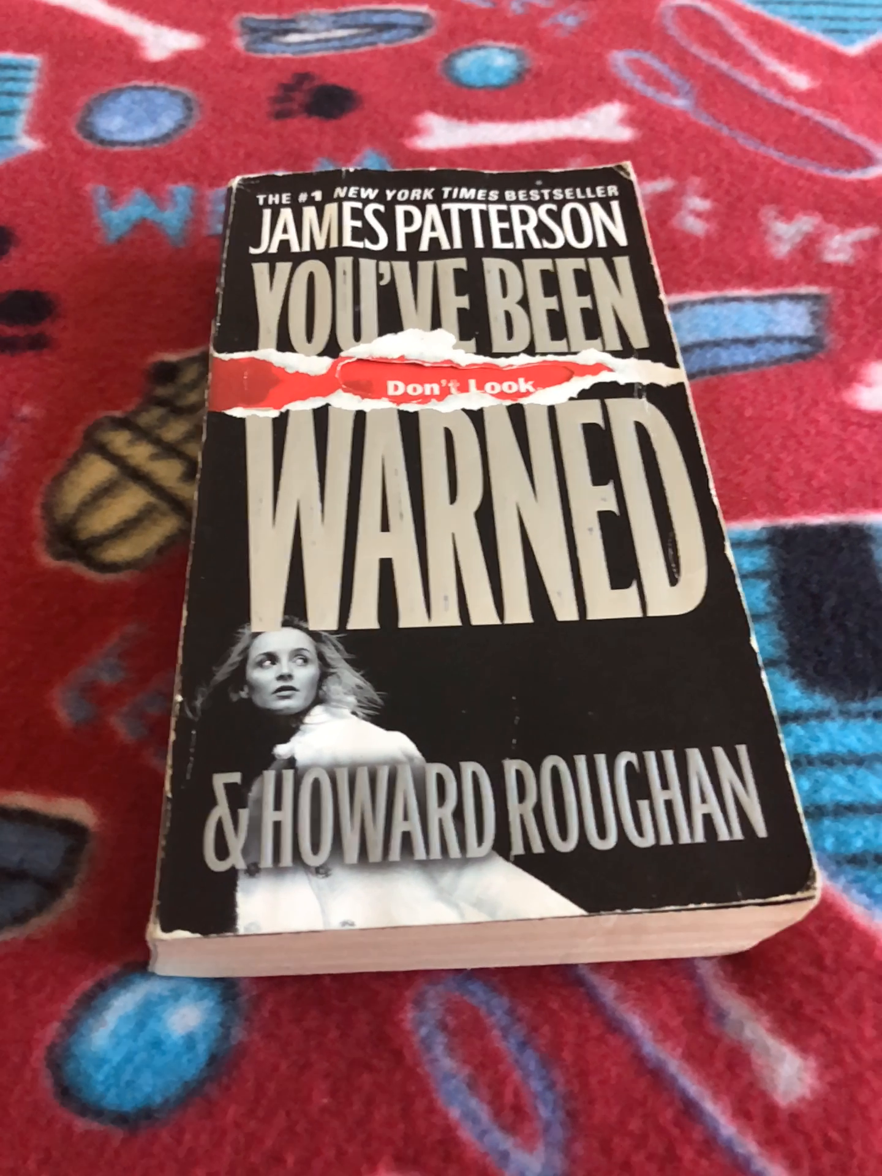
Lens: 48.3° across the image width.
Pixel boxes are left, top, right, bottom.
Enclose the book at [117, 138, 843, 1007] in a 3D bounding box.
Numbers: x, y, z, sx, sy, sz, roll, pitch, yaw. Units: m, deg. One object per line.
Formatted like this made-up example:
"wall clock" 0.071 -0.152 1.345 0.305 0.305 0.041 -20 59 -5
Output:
"book" 0.001 -0.017 0.213 0.110 0.040 0.191 -1 60 -4
